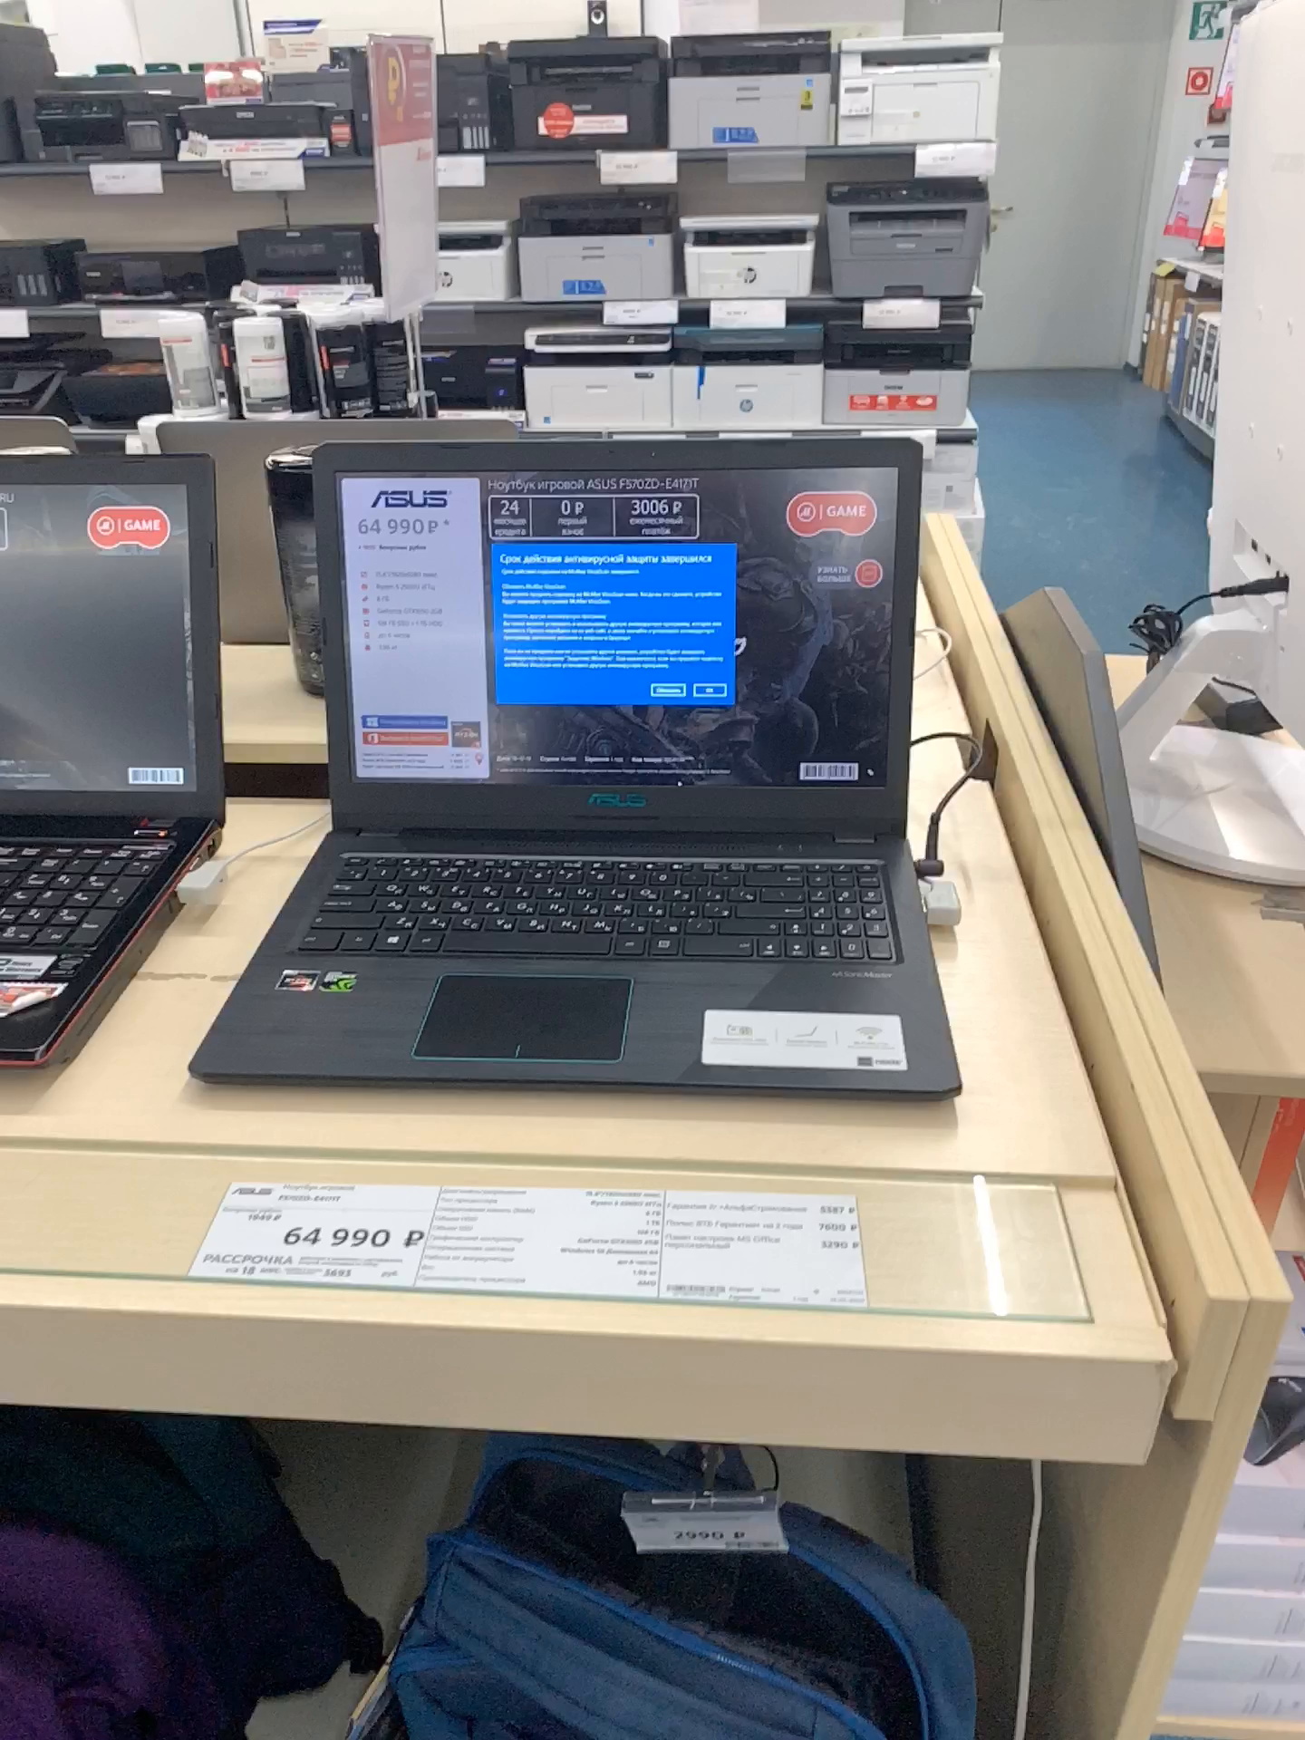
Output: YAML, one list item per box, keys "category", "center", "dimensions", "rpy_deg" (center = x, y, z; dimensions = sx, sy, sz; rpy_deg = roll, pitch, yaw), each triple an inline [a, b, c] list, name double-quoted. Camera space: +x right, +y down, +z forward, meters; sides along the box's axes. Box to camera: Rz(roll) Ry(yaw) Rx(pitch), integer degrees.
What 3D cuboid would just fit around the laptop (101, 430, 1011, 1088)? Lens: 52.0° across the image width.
- category: "laptop"
  center: [-0.032, -0.082, 0.710]
  dimensions: [0.358, 0.222, 0.319]
  rpy_deg: [1, 29, 4]
